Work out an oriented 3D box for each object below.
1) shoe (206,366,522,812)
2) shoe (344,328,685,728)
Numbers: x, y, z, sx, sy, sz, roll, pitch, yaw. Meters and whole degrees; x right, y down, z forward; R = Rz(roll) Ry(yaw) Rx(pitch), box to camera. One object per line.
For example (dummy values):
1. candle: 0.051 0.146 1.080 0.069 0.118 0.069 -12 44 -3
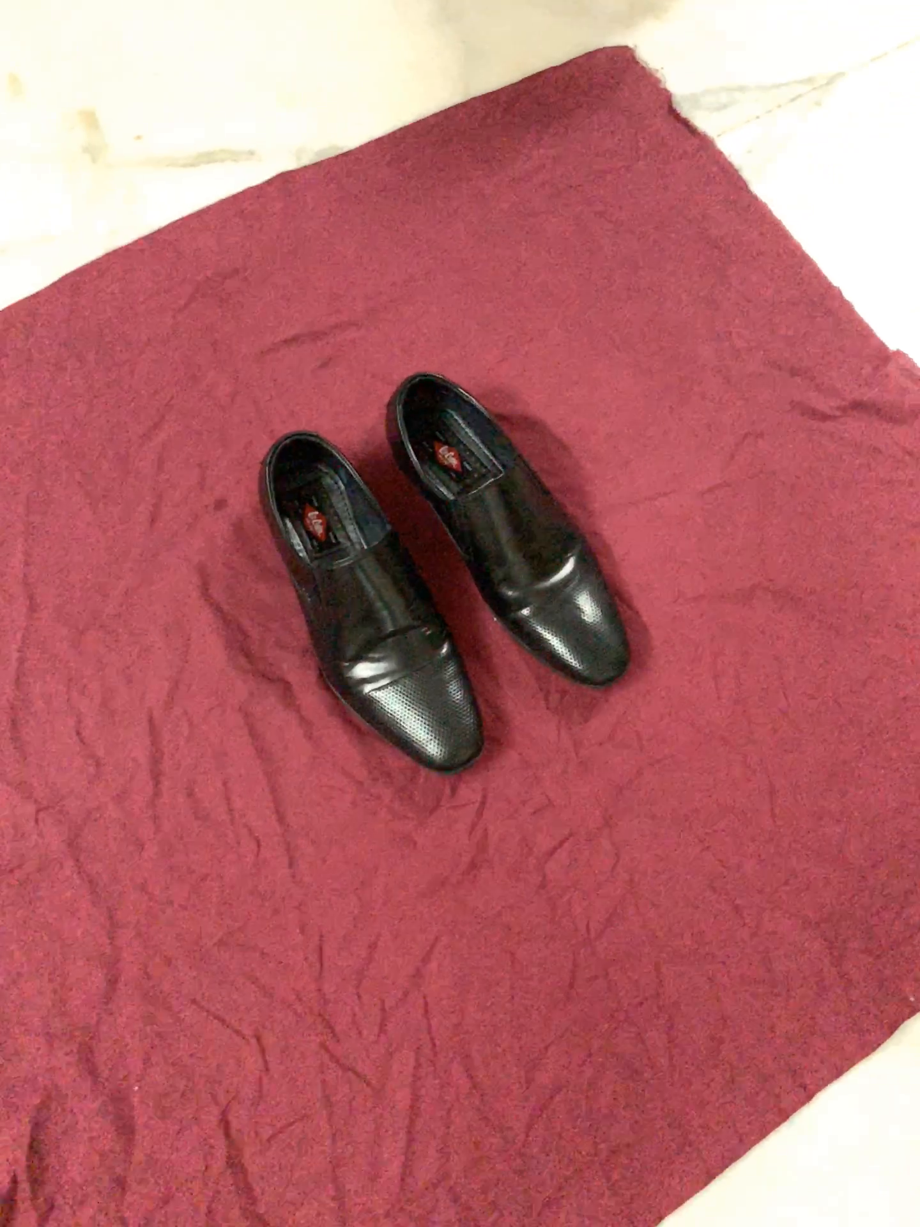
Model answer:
1. shoe: -0.074 -0.020 0.693 0.100 0.100 0.301 -25 72 -10
2. shoe: 0.033 -0.067 0.733 0.100 0.100 0.291 -32 74 -12
